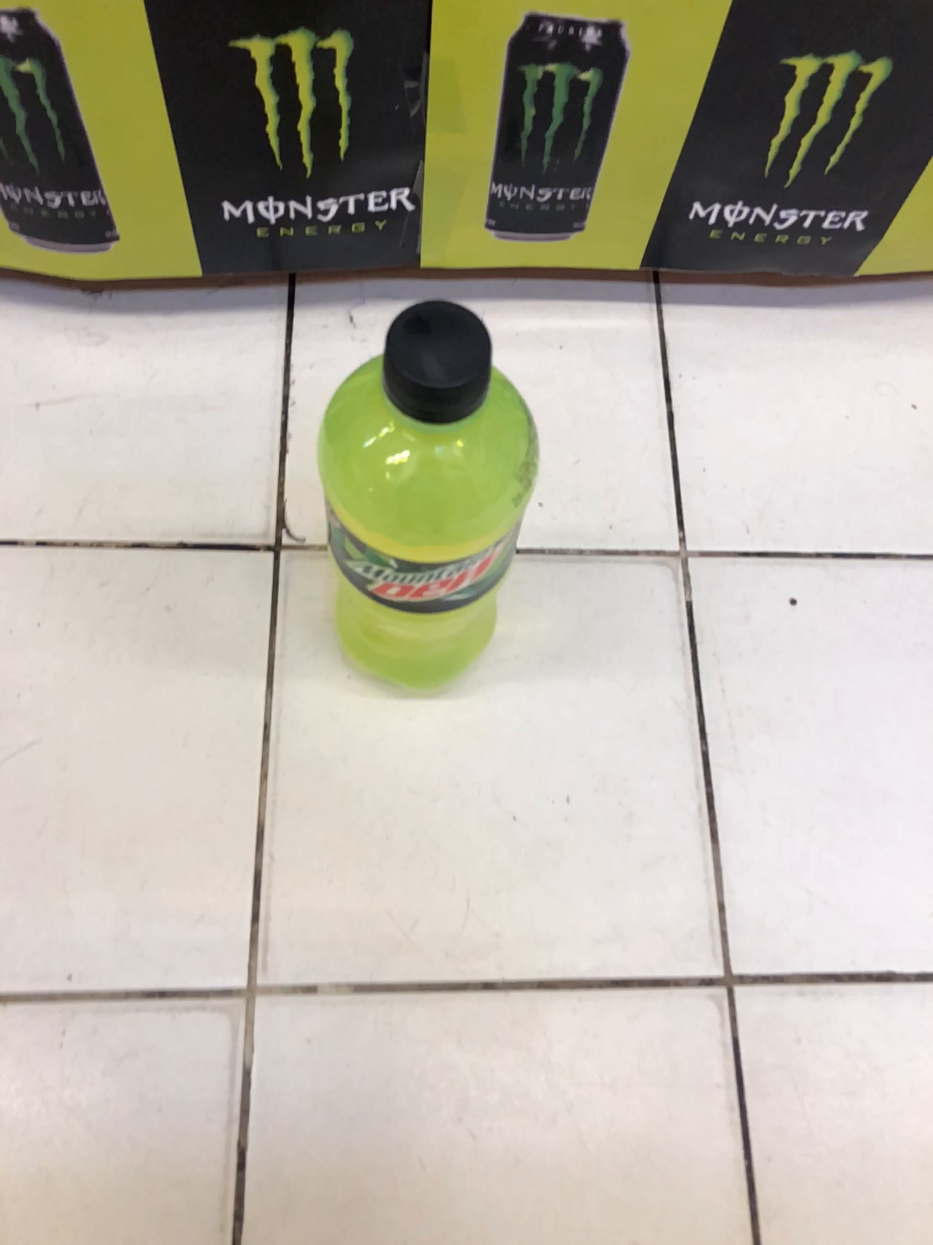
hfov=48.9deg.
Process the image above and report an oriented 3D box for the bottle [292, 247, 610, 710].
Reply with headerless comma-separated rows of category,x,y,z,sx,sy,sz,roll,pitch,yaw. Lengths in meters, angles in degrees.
bottle,-0.012,-0.033,0.363,0.080,0.199,0.070,0,68,-5
